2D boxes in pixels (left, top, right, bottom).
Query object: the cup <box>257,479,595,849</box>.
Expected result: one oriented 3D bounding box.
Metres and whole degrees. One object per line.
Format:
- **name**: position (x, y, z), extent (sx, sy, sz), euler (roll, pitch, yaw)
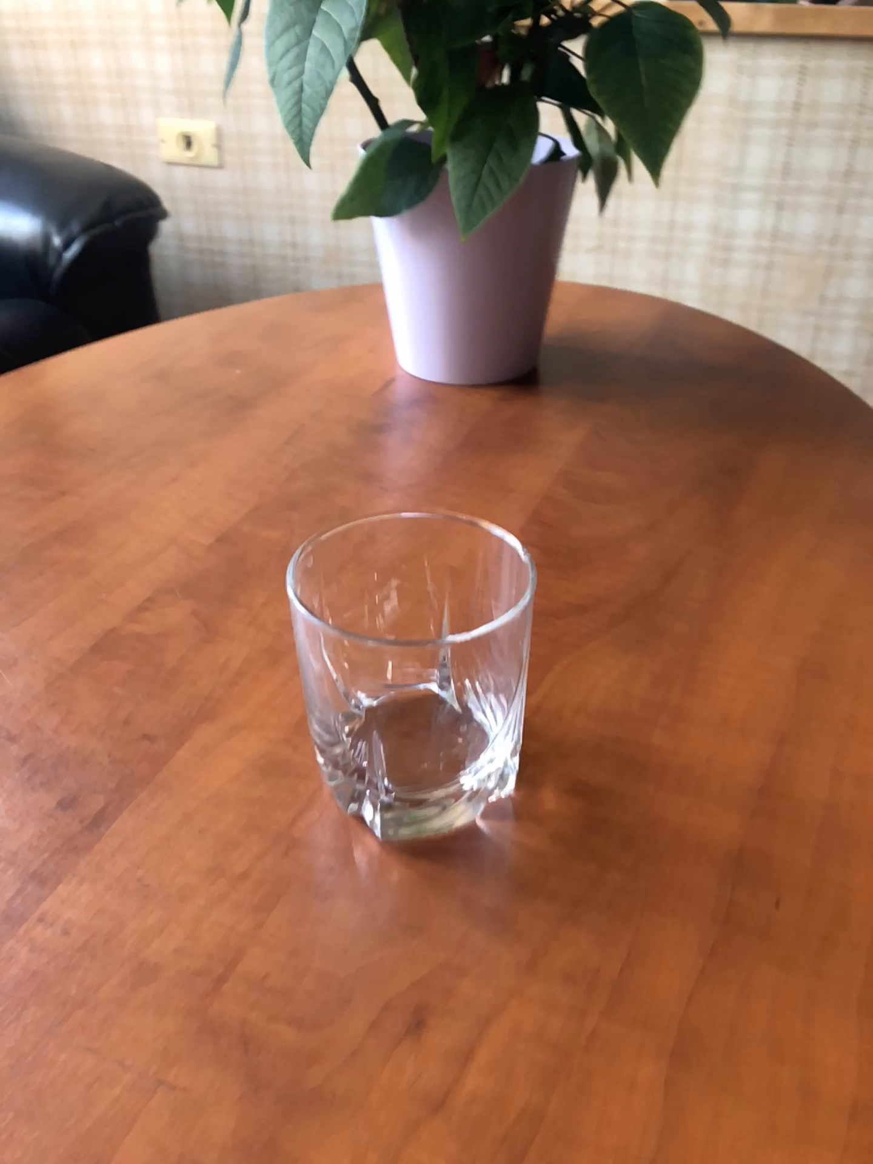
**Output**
- **cup**: position (-0.001, 0.025, 0.329), extent (0.094, 0.086, 0.089), euler (0, 33, 0)
